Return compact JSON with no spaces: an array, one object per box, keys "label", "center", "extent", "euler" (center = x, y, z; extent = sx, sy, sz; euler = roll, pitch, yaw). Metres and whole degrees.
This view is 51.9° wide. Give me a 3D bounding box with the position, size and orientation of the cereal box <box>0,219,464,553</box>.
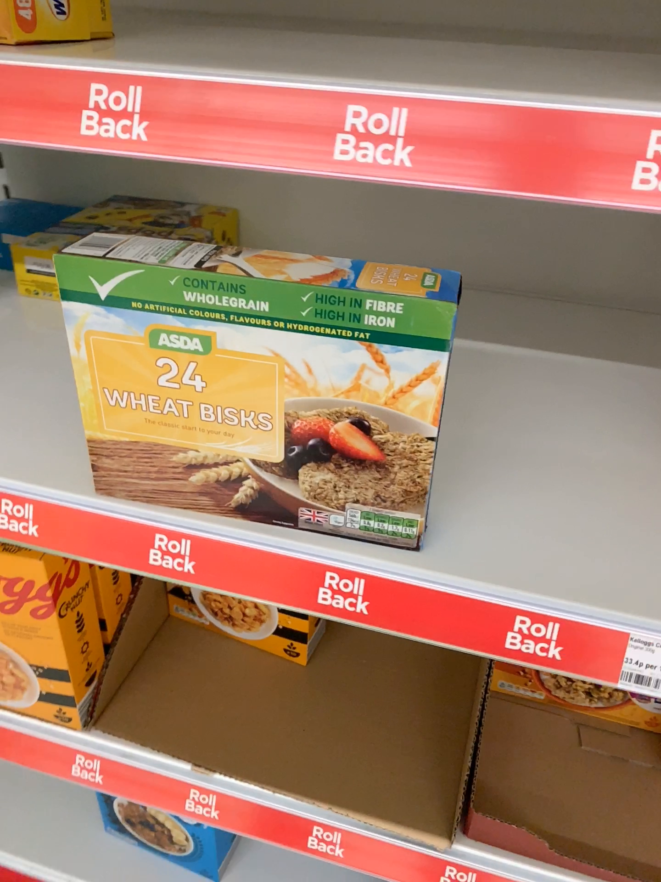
[{"label":"cereal box","center":[-0.062,-0.035,0.449],"extent":[0.270,0.178,0.061],"euler":[8,34,8]}]
